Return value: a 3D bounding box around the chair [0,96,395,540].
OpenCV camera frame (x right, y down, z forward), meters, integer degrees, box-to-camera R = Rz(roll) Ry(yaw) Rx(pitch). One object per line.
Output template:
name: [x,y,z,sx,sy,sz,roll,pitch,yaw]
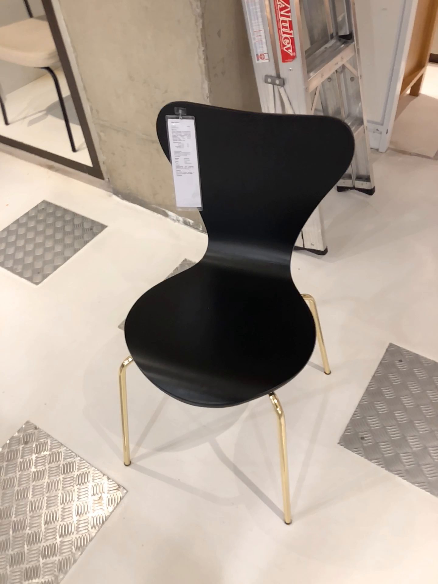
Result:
chair: [0.026,0.076,1.103,0.510,0.775,0.543,14,50,18]
